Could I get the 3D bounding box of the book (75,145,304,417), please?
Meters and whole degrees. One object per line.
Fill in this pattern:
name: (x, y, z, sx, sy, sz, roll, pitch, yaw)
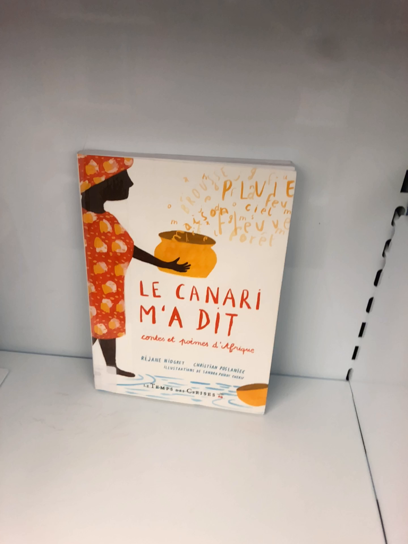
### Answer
book: (-0.014, 0.012, 0.350, 0.149, 0.199, 0.037, 6, 26, 6)
